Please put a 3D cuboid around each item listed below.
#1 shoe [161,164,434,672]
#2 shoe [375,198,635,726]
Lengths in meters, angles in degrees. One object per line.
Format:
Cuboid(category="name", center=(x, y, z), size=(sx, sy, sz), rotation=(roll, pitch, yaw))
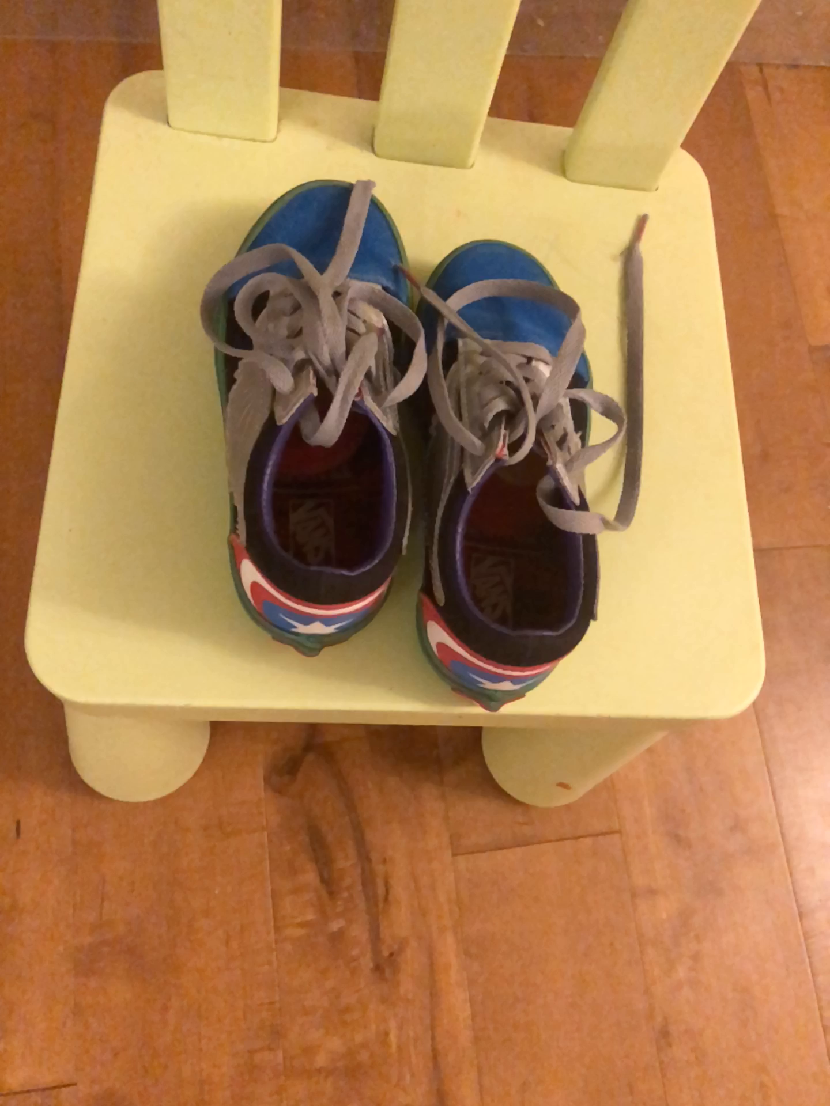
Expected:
Cuboid(category="shoe", center=(-0.046, -0.053, 0.389), size=(0.090, 0.080, 0.190), rotation=(5, 73, -8))
Cuboid(category="shoe", center=(0.033, -0.033, 0.363), size=(0.080, 0.070, 0.190), rotation=(5, 73, -8))
